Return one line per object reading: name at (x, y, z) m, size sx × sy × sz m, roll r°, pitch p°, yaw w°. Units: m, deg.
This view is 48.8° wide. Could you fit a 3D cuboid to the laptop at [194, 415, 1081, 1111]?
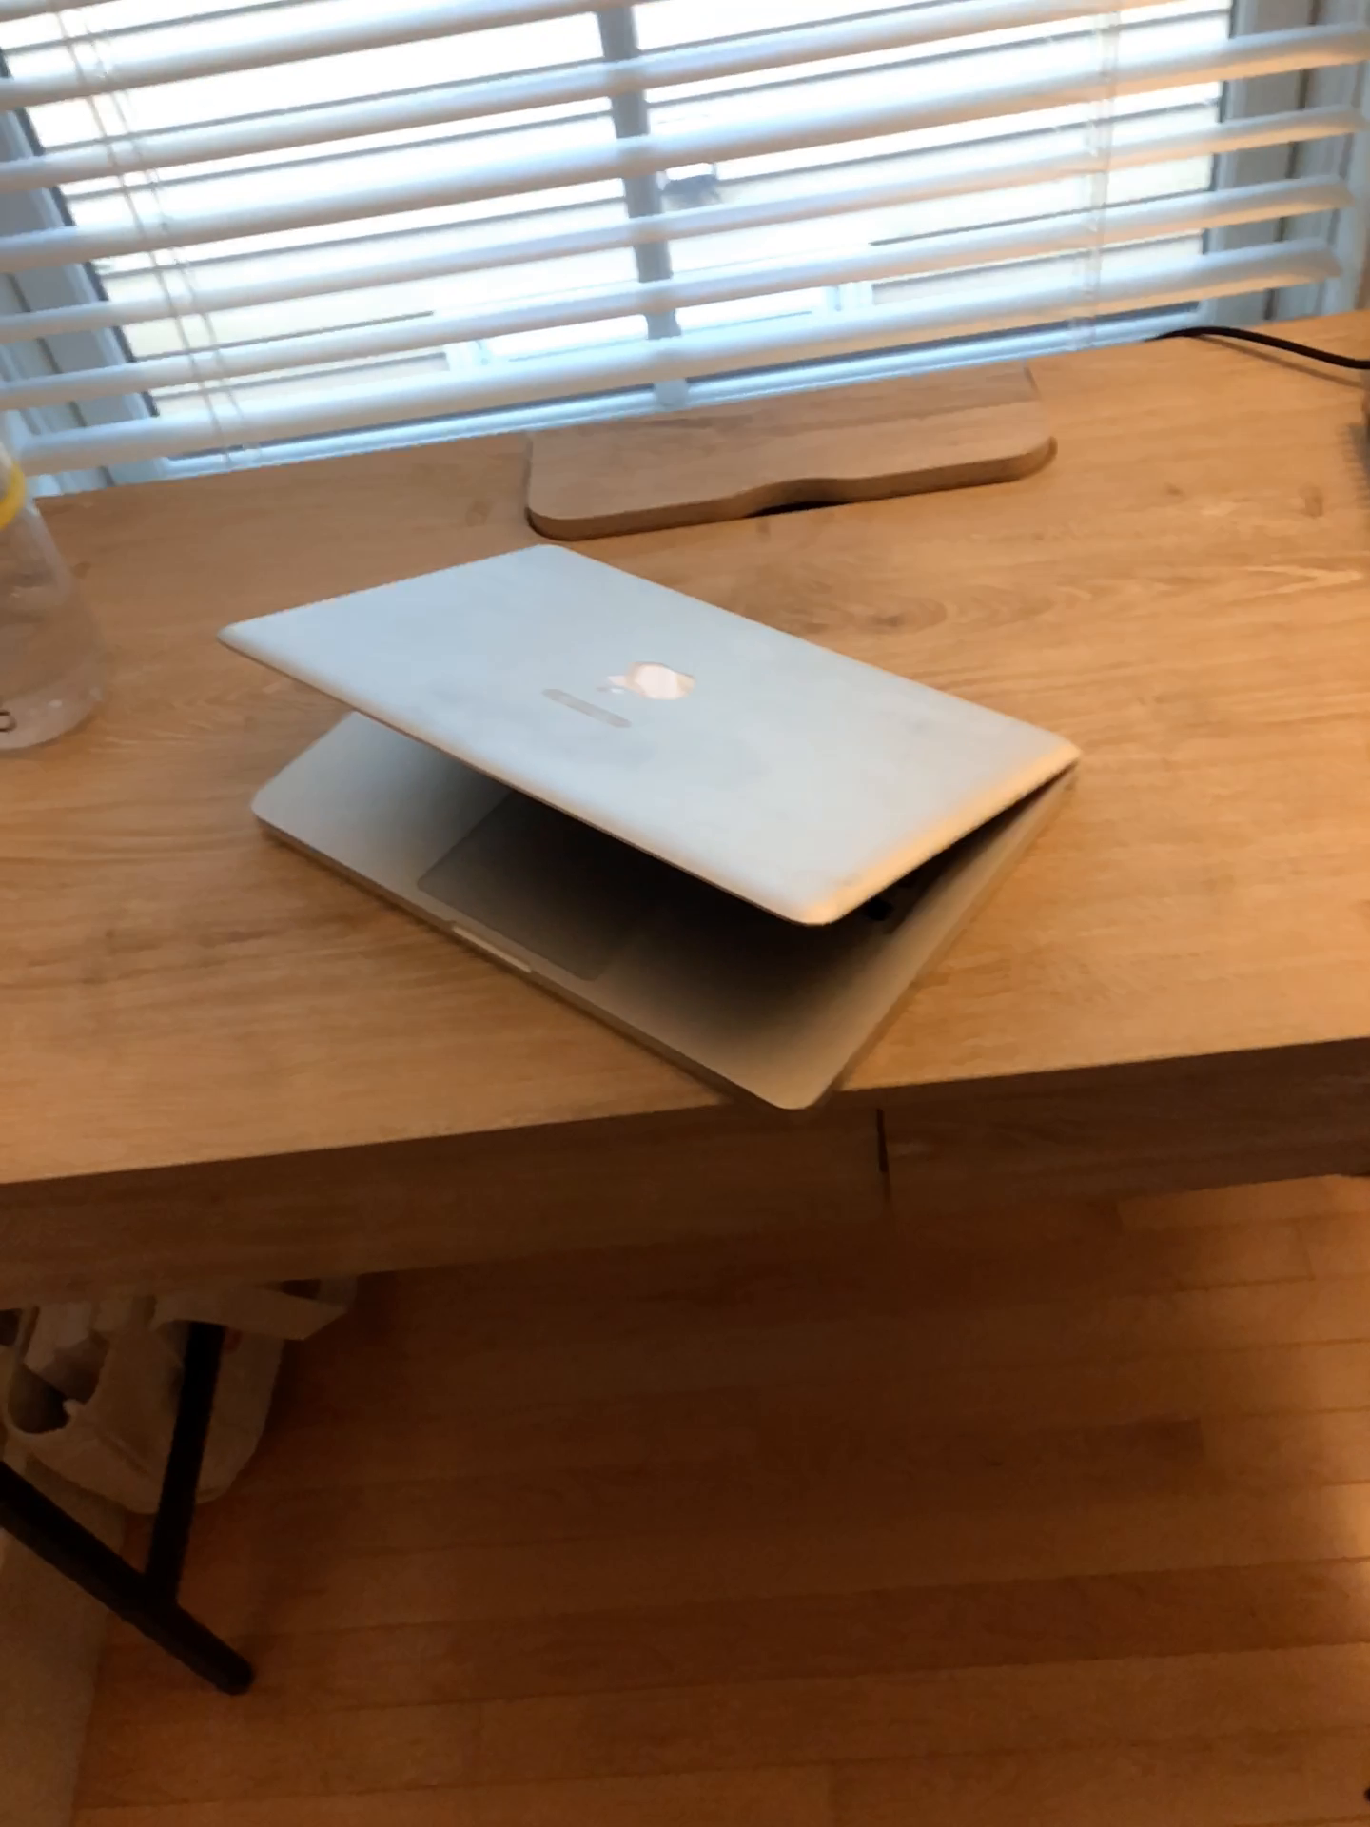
laptop at (-0.021, -0.084, 0.640) m, size 0.300 × 0.082 × 0.210 m, roll 27°, pitch 60°, yaw 29°
